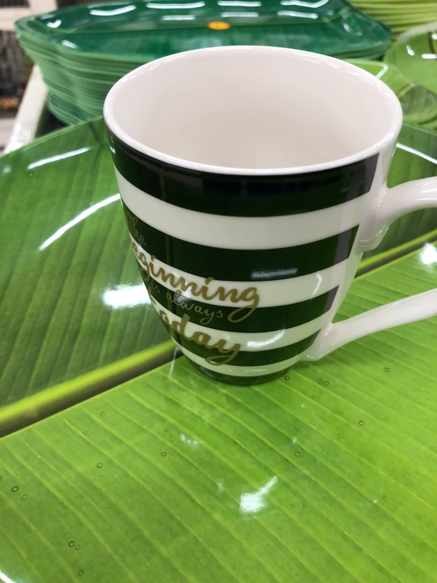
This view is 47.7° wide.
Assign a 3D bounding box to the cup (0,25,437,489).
[{"bbox_3d":[0.022,-0.021,0.151,0.130,0.079,0.081,17,44,18],"label":"cup"}]
